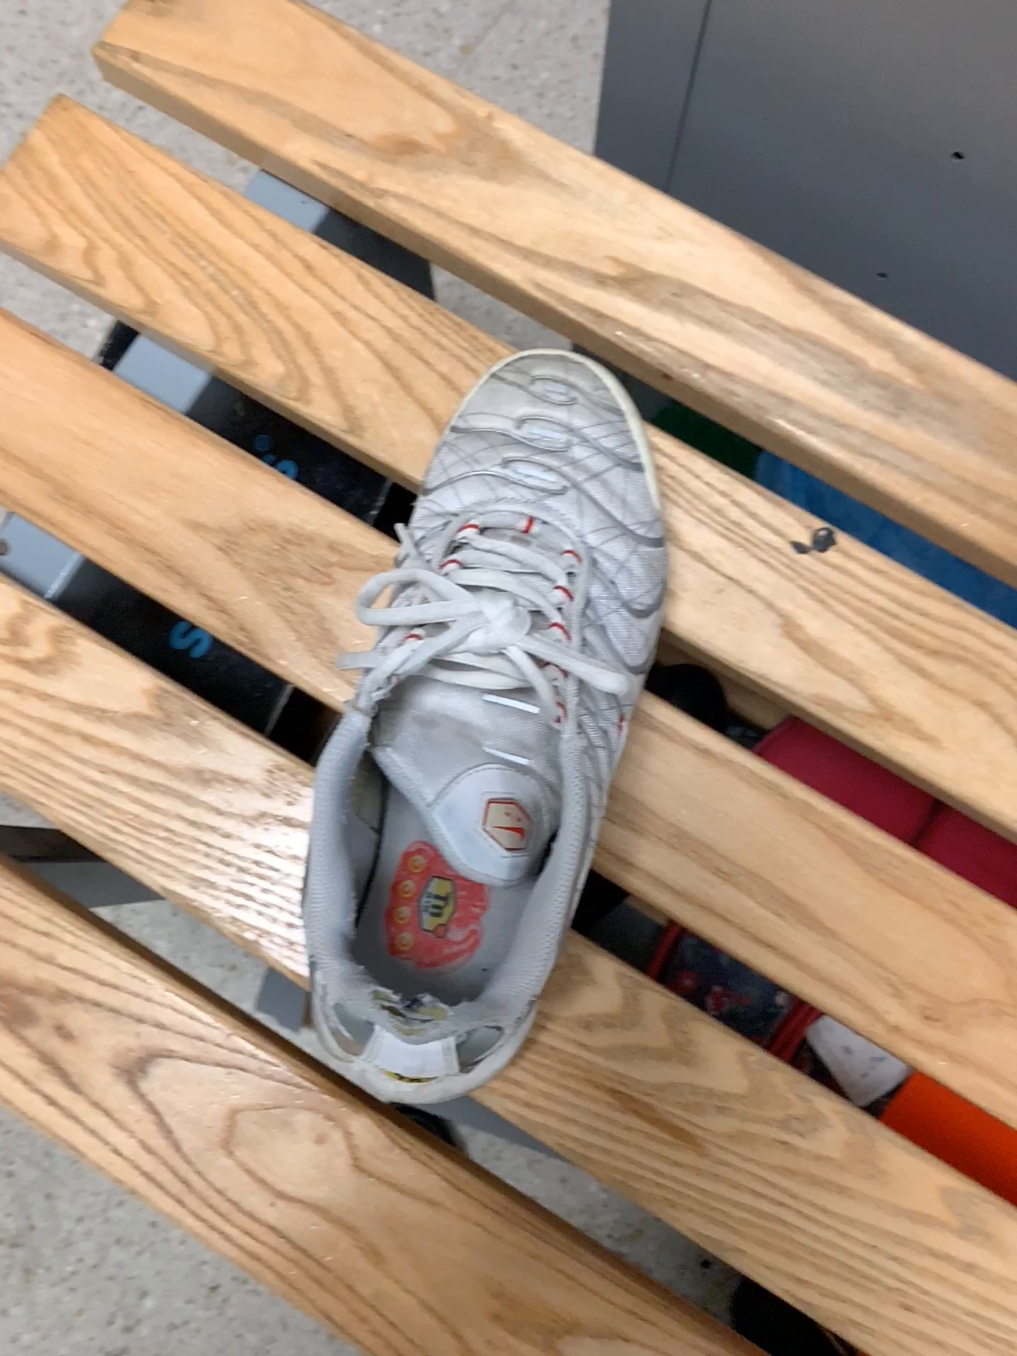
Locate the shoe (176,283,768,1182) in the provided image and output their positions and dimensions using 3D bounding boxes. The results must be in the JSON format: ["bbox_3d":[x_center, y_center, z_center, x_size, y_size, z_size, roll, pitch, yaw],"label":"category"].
[{"bbox_3d":[-0.005,0.014,0.335,0.100,0.105,0.227,16,80,3],"label":"shoe"}]
